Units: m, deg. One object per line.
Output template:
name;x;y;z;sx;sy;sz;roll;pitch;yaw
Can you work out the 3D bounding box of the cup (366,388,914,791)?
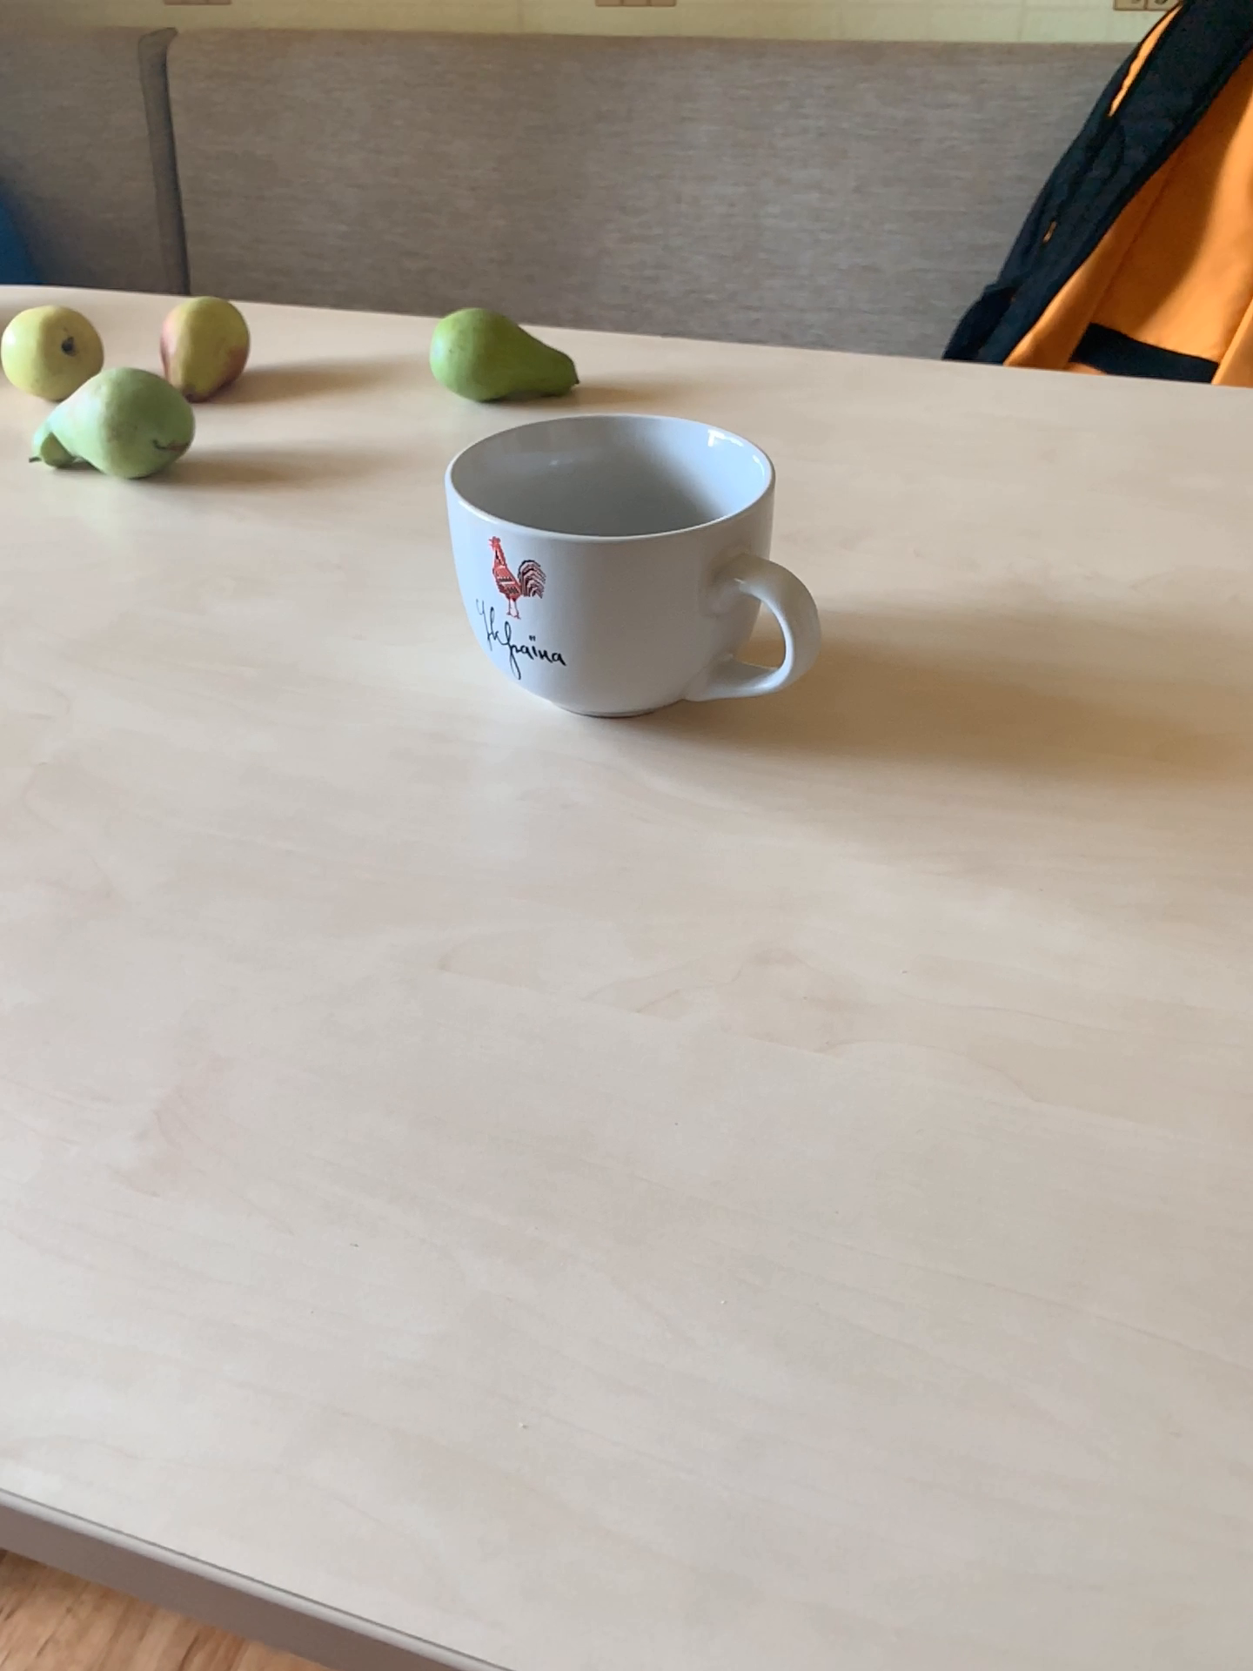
cup;0.003;-0.084;0.404;0.130;0.060;0.100;27;45;33
